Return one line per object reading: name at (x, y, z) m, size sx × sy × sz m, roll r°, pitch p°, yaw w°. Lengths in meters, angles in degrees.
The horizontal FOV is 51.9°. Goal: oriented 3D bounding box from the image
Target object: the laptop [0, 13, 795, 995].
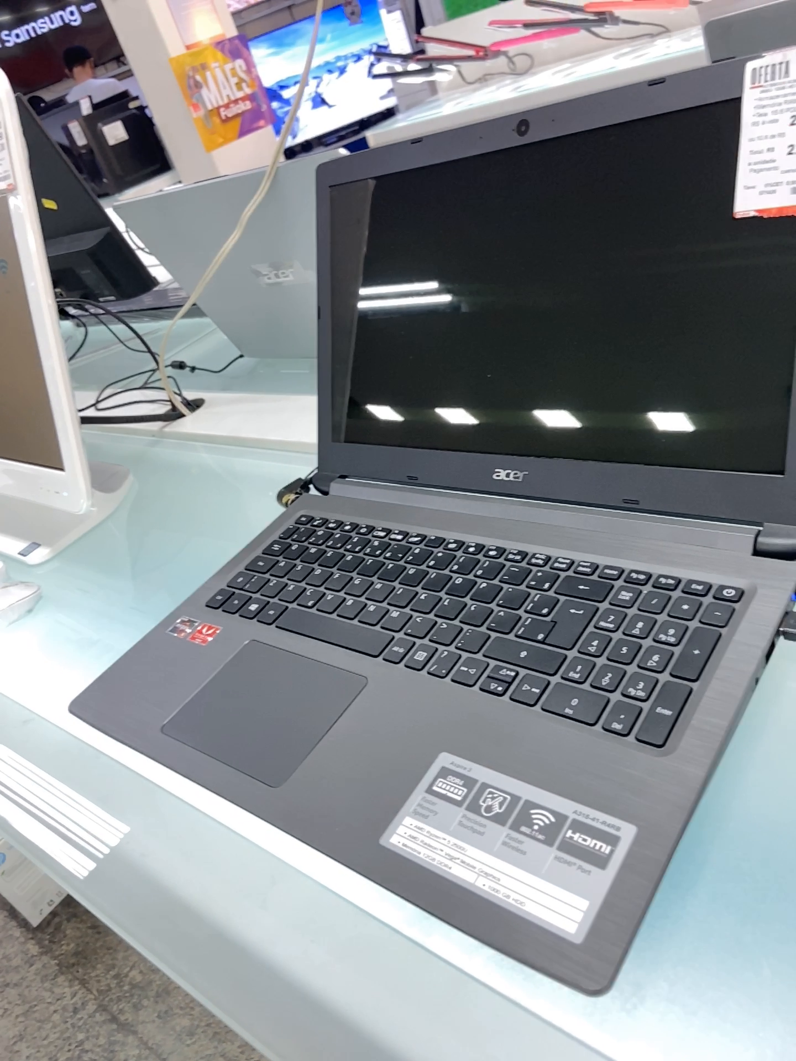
laptop at (0.003, -0.060, 0.418) m, size 0.341 × 0.194 × 0.354 m, roll 9°, pitch 43°, yaw 41°
